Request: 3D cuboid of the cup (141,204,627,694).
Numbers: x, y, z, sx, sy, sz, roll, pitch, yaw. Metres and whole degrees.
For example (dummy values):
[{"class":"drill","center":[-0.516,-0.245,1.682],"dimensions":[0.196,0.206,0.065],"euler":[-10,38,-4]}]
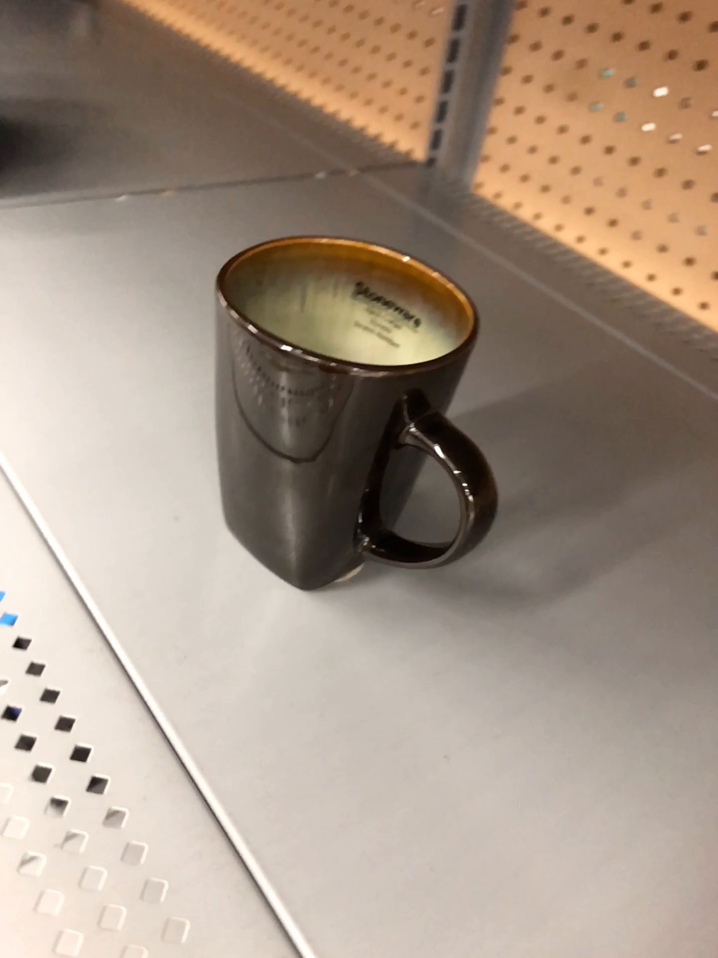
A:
[{"class":"cup","center":[0.000,-0.020,0.298],"dimensions":[0.136,0.099,0.095],"euler":[38,45,26]}]
